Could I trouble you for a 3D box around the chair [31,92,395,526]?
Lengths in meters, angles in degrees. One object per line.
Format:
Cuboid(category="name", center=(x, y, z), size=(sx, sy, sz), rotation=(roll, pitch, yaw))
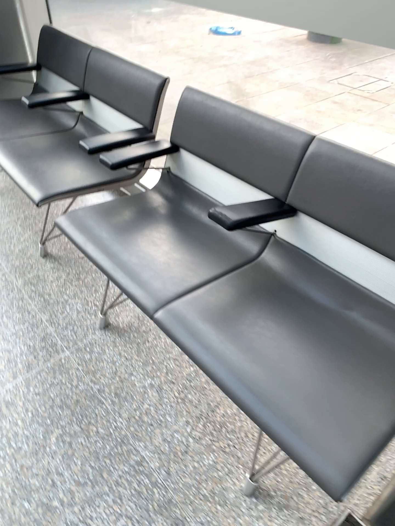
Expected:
Cuboid(category="chair", center=(0.153, 0.013, 1.404), size=(0.824, 0.713, 1.206), rotation=(-28, 48, -30))
